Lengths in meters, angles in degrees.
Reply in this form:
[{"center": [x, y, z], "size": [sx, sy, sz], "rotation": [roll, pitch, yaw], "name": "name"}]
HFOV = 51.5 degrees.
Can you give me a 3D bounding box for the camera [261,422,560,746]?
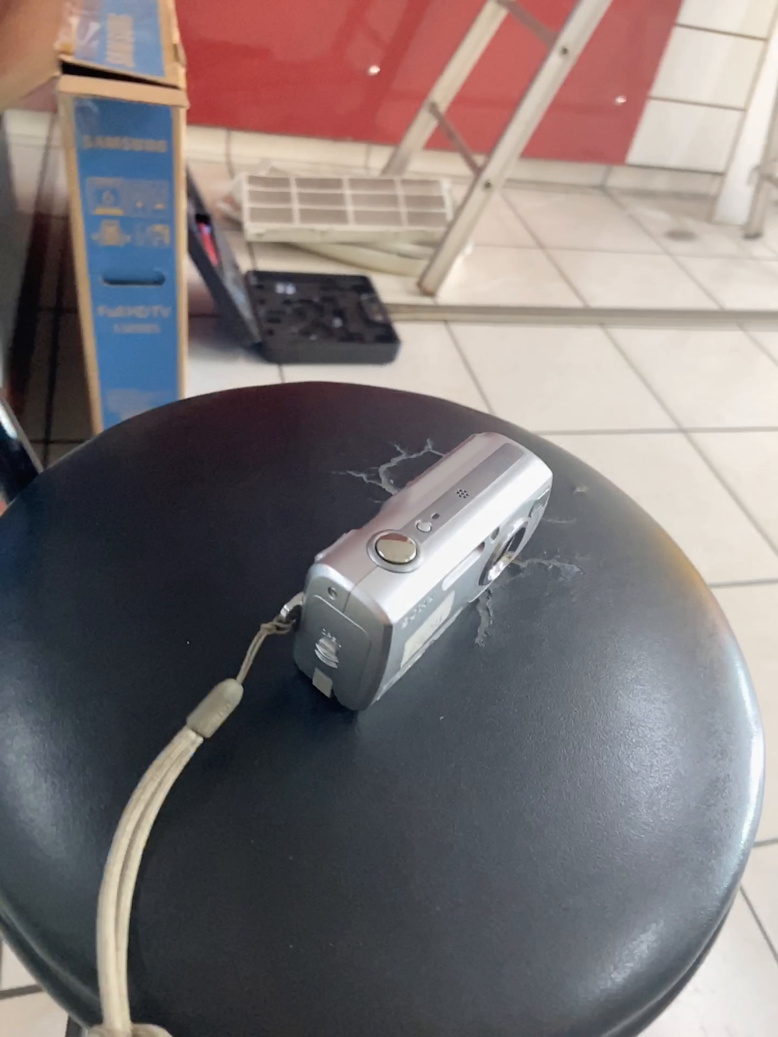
[{"center": [0.009, 0.017, 0.267], "size": [0.040, 0.050, 0.101], "rotation": [33, 46, 21], "name": "camera"}]
